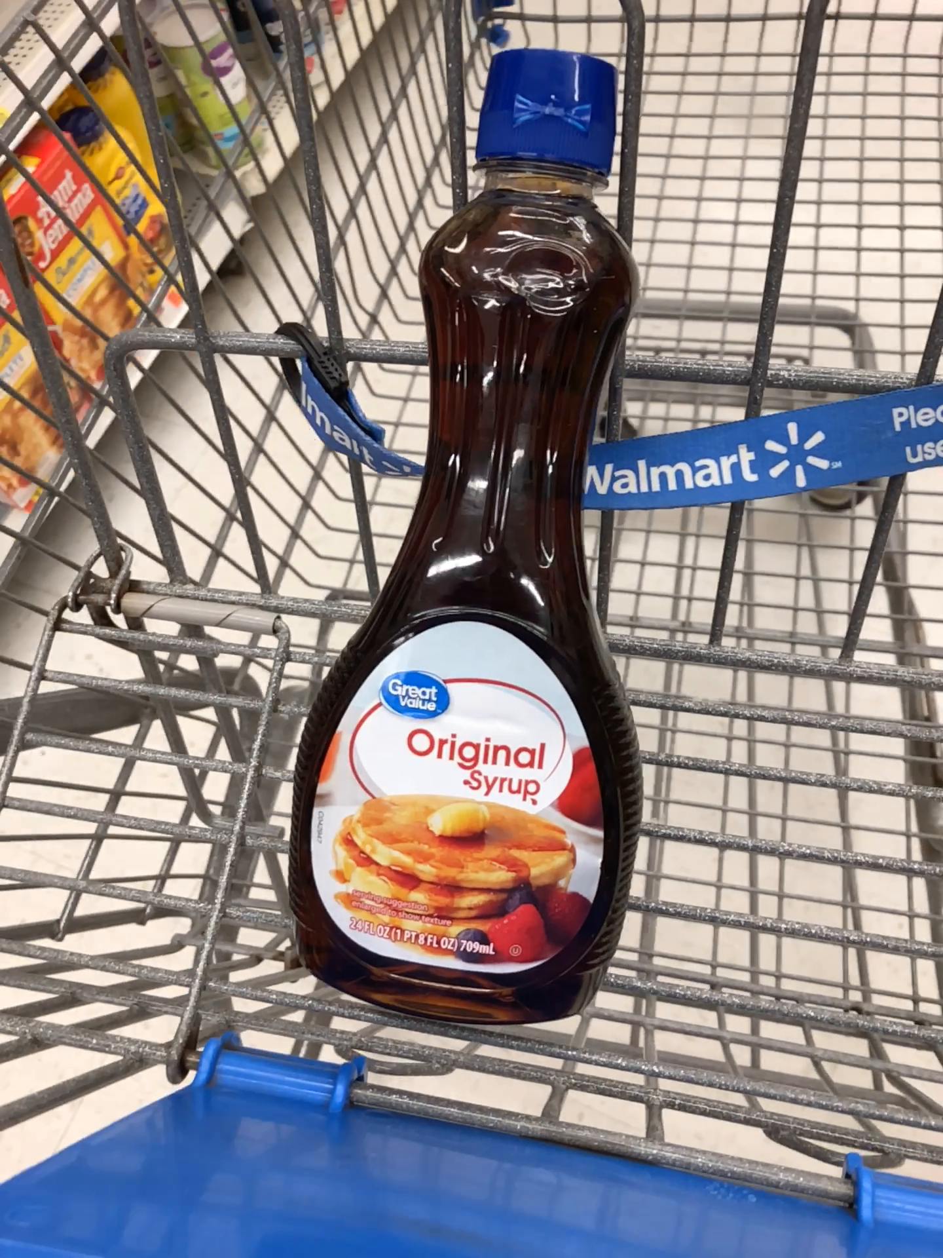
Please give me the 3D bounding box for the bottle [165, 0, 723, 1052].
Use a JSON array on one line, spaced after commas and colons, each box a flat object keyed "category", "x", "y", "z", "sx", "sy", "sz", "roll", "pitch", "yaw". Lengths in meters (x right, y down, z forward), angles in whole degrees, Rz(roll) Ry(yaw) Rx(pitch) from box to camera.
[{"category": "bottle", "x": -0.009, "y": -0.026, "z": 0.293, "sx": 0.120, "sy": 0.070, "sz": 0.250, "roll": 8, "pitch": 102, "yaw": 13}]
